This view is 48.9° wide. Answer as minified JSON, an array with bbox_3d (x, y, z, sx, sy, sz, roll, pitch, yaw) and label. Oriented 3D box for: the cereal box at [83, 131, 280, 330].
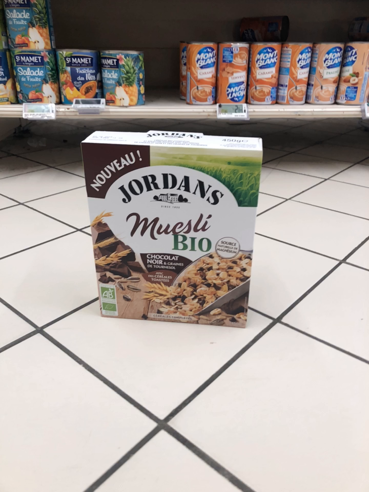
[{"bbox_3d":[-0.003,-0.014,0.455,0.190,0.209,0.050,4,27,6],"label":"cereal box"}]
